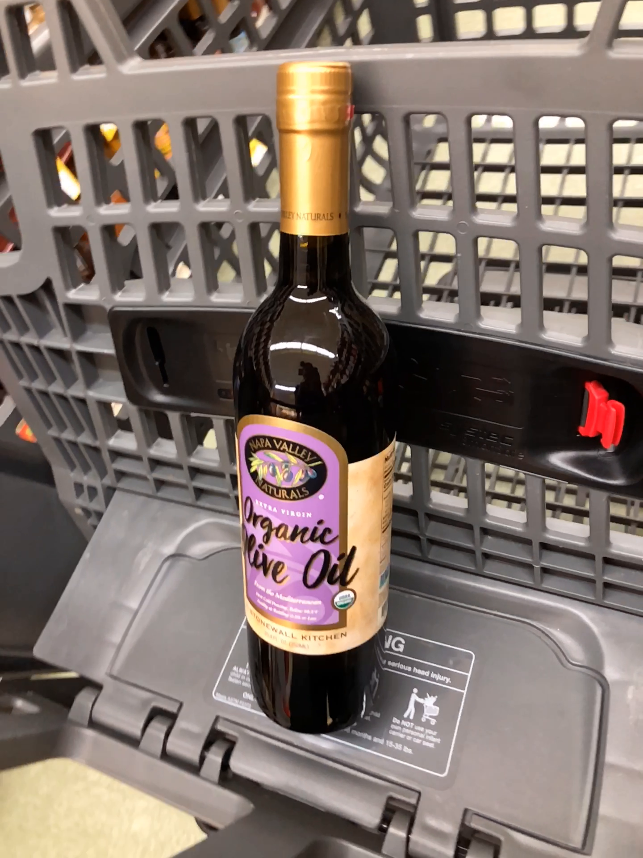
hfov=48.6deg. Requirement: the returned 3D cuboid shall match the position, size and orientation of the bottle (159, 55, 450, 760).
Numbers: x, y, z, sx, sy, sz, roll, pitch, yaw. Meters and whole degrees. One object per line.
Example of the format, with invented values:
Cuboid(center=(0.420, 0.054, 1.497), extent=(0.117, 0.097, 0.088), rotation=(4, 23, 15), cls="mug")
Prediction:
Cuboid(center=(-0.004, 0.000, 0.328), extent=(0.080, 0.300, 0.080), rotation=(0, 25, 0), cls="bottle")
